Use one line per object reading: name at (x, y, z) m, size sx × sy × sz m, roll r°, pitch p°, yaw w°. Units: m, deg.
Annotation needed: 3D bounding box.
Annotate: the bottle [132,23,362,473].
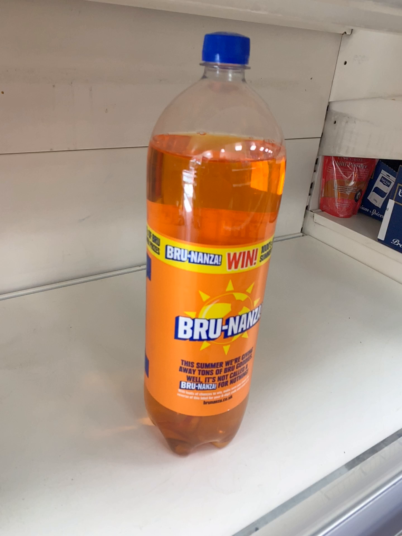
bottle at (0.007, -0.002, 0.331) m, size 0.110 × 0.327 × 0.111 m, roll 4°, pitch 28°, yaw -2°
